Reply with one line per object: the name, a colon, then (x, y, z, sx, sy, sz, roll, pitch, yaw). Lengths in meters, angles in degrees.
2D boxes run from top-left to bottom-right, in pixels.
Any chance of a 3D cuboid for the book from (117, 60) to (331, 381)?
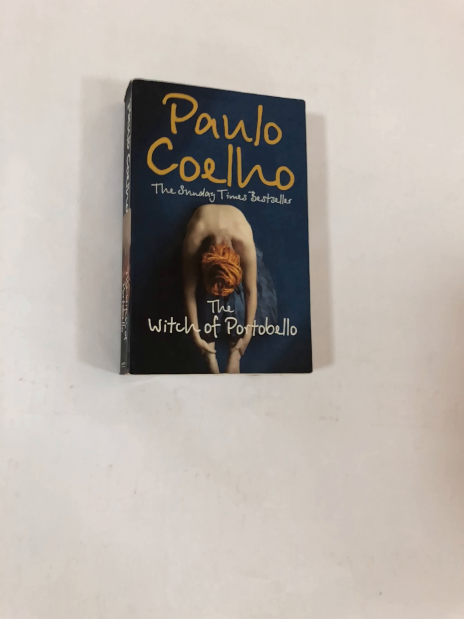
book: (-0.006, -0.049, 0.313, 0.120, 0.030, 0.180, 1, 82, -15)
